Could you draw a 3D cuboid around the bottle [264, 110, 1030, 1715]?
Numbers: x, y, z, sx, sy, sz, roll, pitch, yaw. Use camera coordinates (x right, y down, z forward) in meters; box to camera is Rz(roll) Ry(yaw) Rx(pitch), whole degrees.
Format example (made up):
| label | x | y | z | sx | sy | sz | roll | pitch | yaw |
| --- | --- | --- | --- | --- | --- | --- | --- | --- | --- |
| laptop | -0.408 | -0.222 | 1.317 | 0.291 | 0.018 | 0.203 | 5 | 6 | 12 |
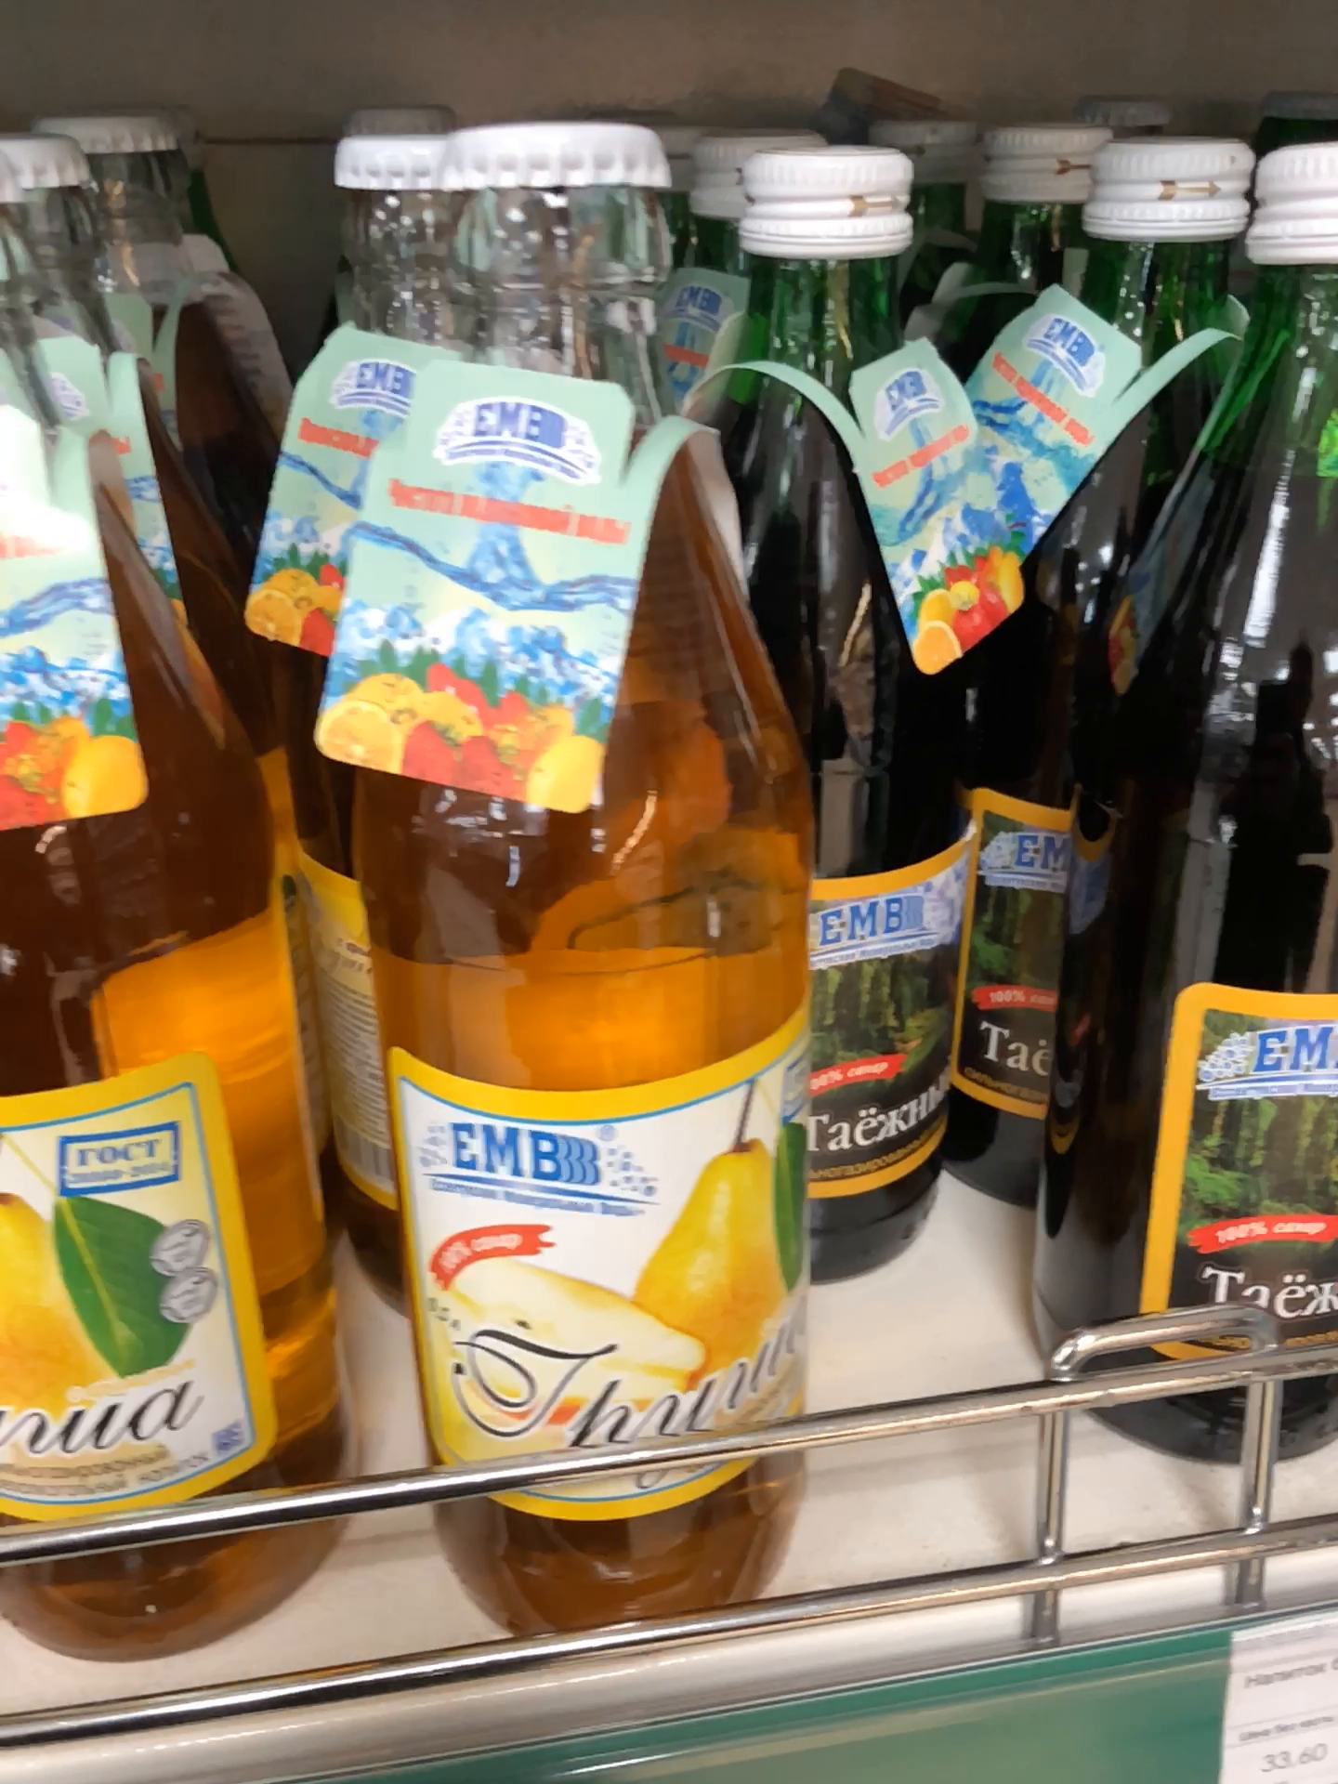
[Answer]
| label | x | y | z | sx | sy | sz | roll | pitch | yaw |
| --- | --- | --- | --- | --- | --- | --- | --- | --- | --- |
| bottle | -0.007 | 0.011 | 0.234 | 0.080 | 0.234 | 0.070 | -6 | 26 | -11 |
